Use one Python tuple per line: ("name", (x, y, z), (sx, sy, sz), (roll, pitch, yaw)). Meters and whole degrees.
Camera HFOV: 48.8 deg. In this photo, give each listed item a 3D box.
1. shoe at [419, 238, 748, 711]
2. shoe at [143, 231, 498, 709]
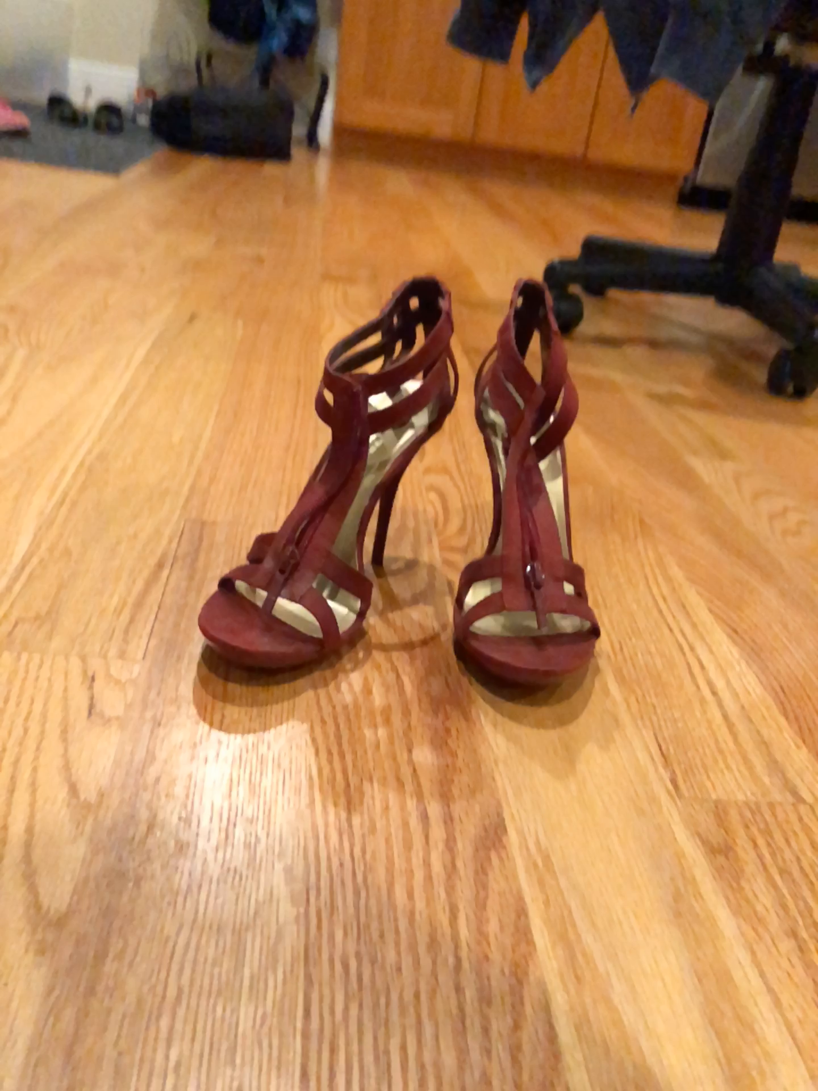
("shoe", (0.070, -0.050, 0.478), (0.085, 0.175, 0.208), (5, 27, -8))
("shoe", (-0.039, -0.054, 0.462), (0.085, 0.175, 0.200), (17, 28, 16))
